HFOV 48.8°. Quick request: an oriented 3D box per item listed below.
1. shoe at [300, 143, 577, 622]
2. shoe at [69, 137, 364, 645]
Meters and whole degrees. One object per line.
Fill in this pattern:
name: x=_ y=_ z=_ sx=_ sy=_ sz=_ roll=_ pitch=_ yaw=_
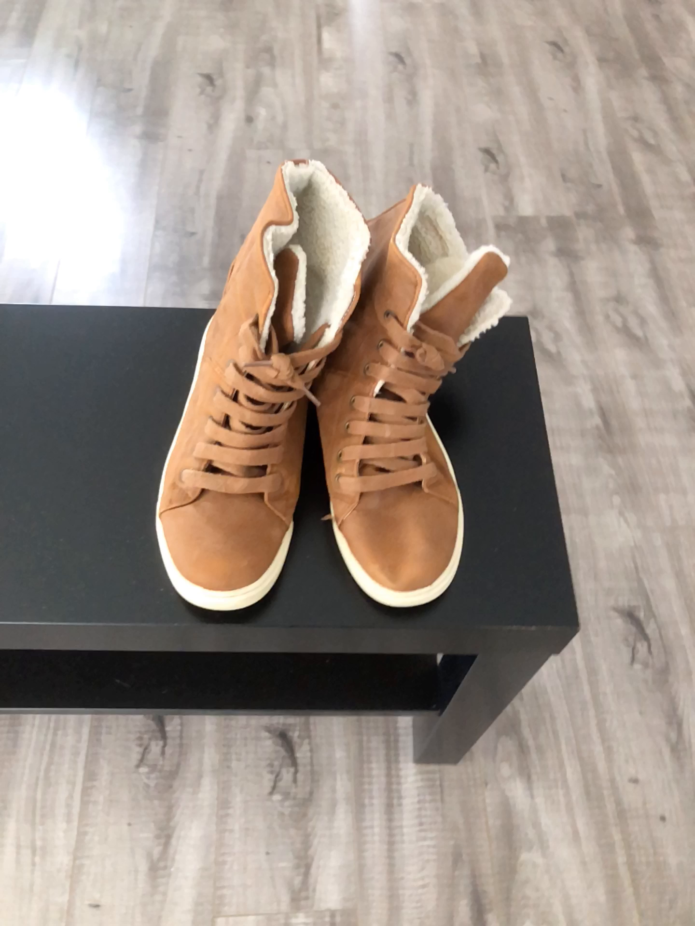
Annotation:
shoe: x=0.035 y=-0.055 z=0.475 sx=0.110 sy=0.140 sz=0.260 roll=-4 pitch=58 yaw=-5
shoe: x=-0.058 y=-0.046 z=0.462 sx=0.110 sy=0.150 sz=0.260 roll=5 pitch=58 yaw=1
